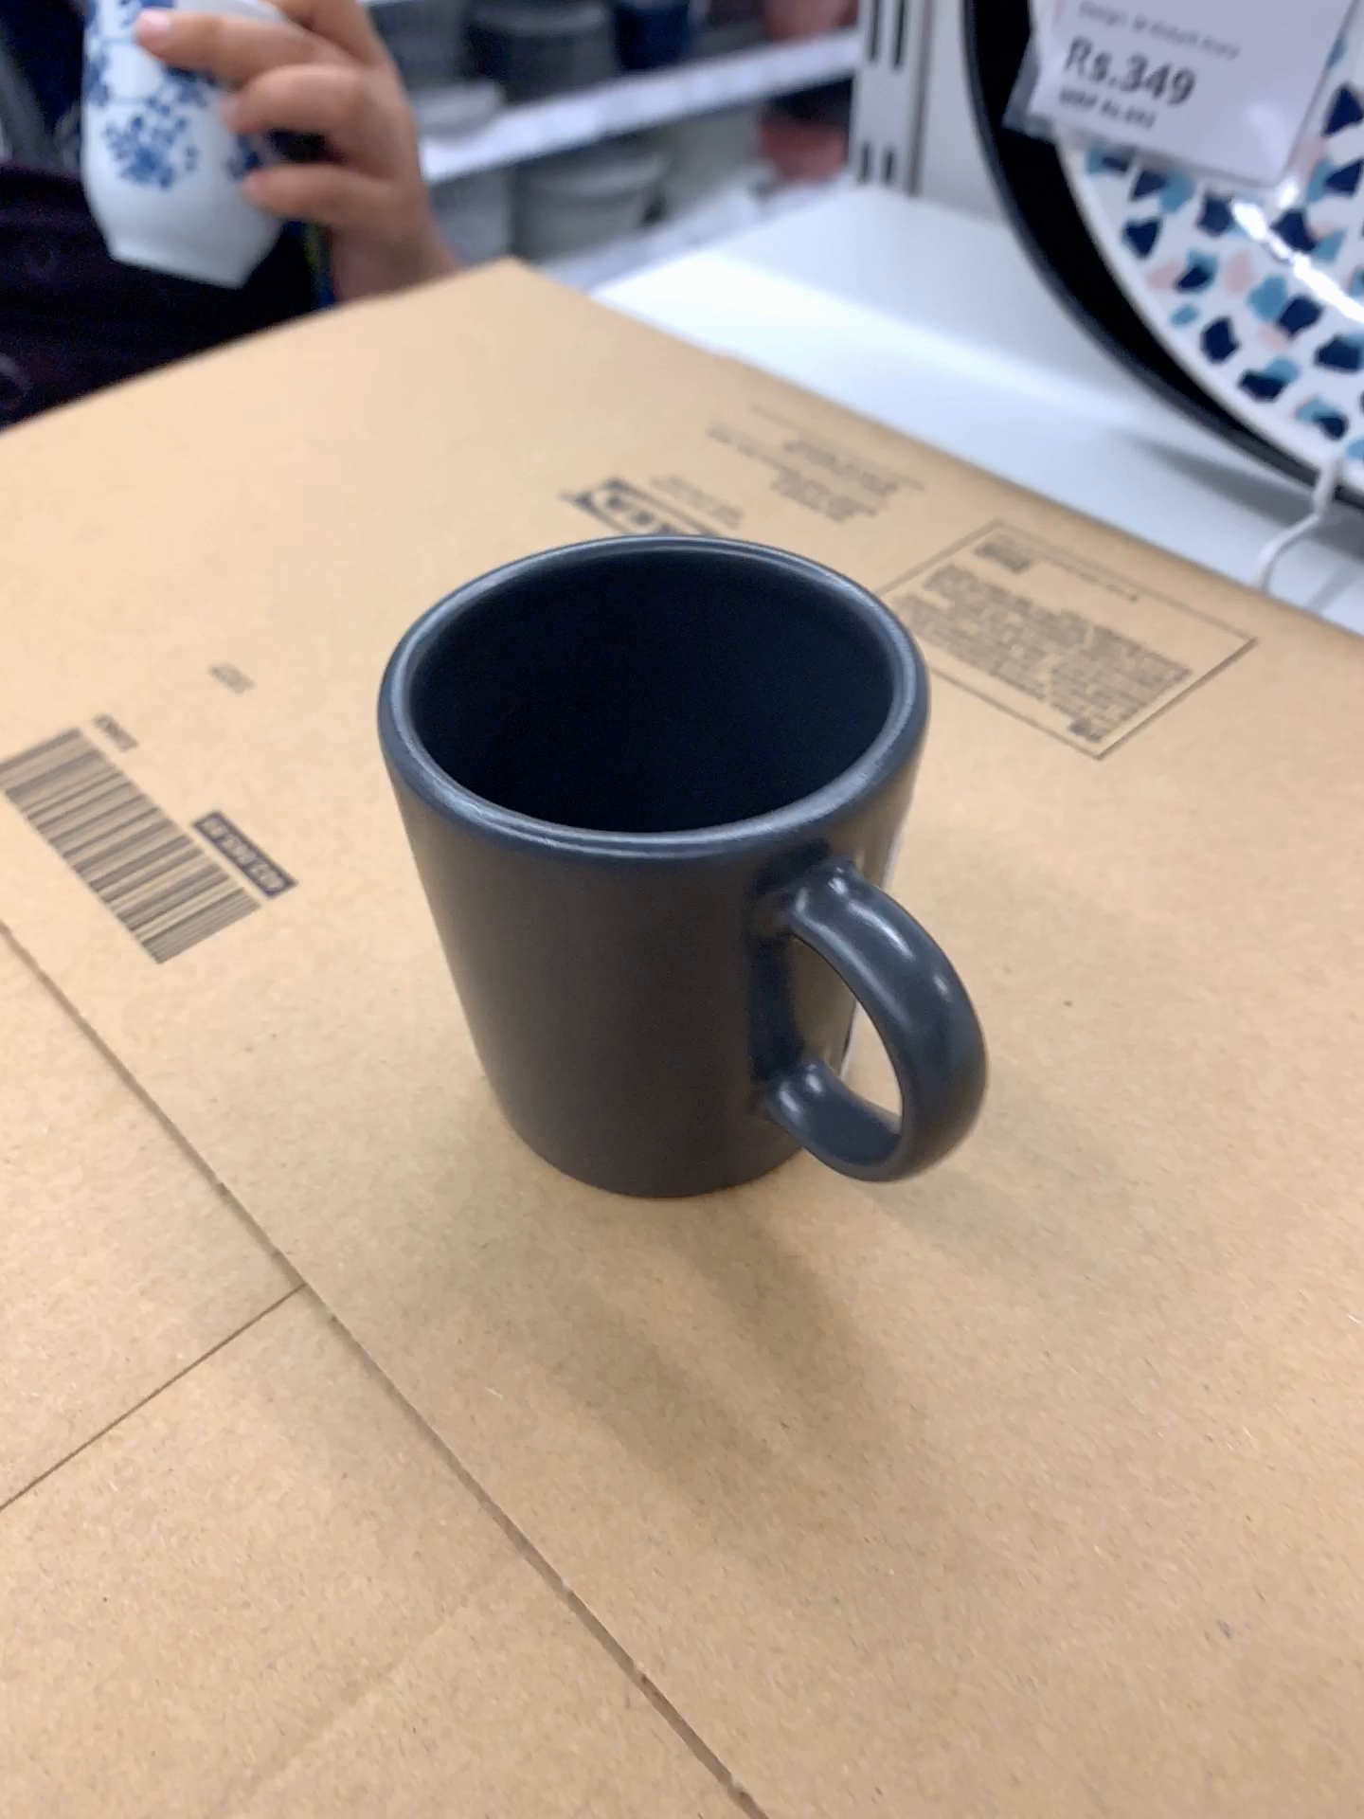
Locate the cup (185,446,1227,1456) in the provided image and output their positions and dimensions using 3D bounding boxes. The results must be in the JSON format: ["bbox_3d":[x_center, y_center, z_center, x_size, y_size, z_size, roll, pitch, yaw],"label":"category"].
[{"bbox_3d":[0.000,-0.001,0.168,0.090,0.060,0.060,34,54,30],"label":"cup"}]
